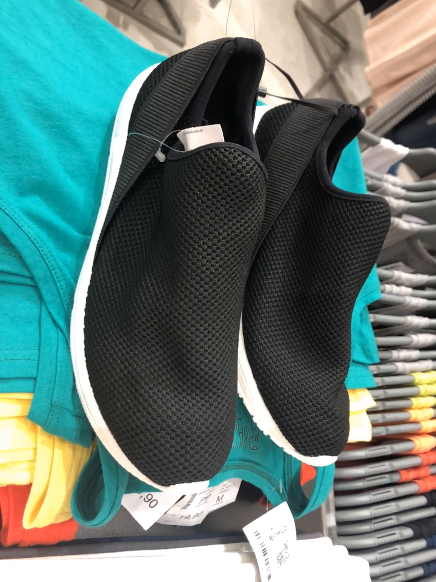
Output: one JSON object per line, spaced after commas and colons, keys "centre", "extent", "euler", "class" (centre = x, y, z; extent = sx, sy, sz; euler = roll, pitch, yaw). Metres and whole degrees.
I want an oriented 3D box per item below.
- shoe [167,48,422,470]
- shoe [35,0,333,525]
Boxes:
{"centre": [0.038, -0.010, 0.329], "extent": [0.090, 0.119, 0.240], "euler": [12, 67, -38], "class": "shoe"}
{"centre": [-0.022, -0.028, 0.268], "extent": [0.090, 0.119, 0.260], "euler": [12, 71, -38], "class": "shoe"}
